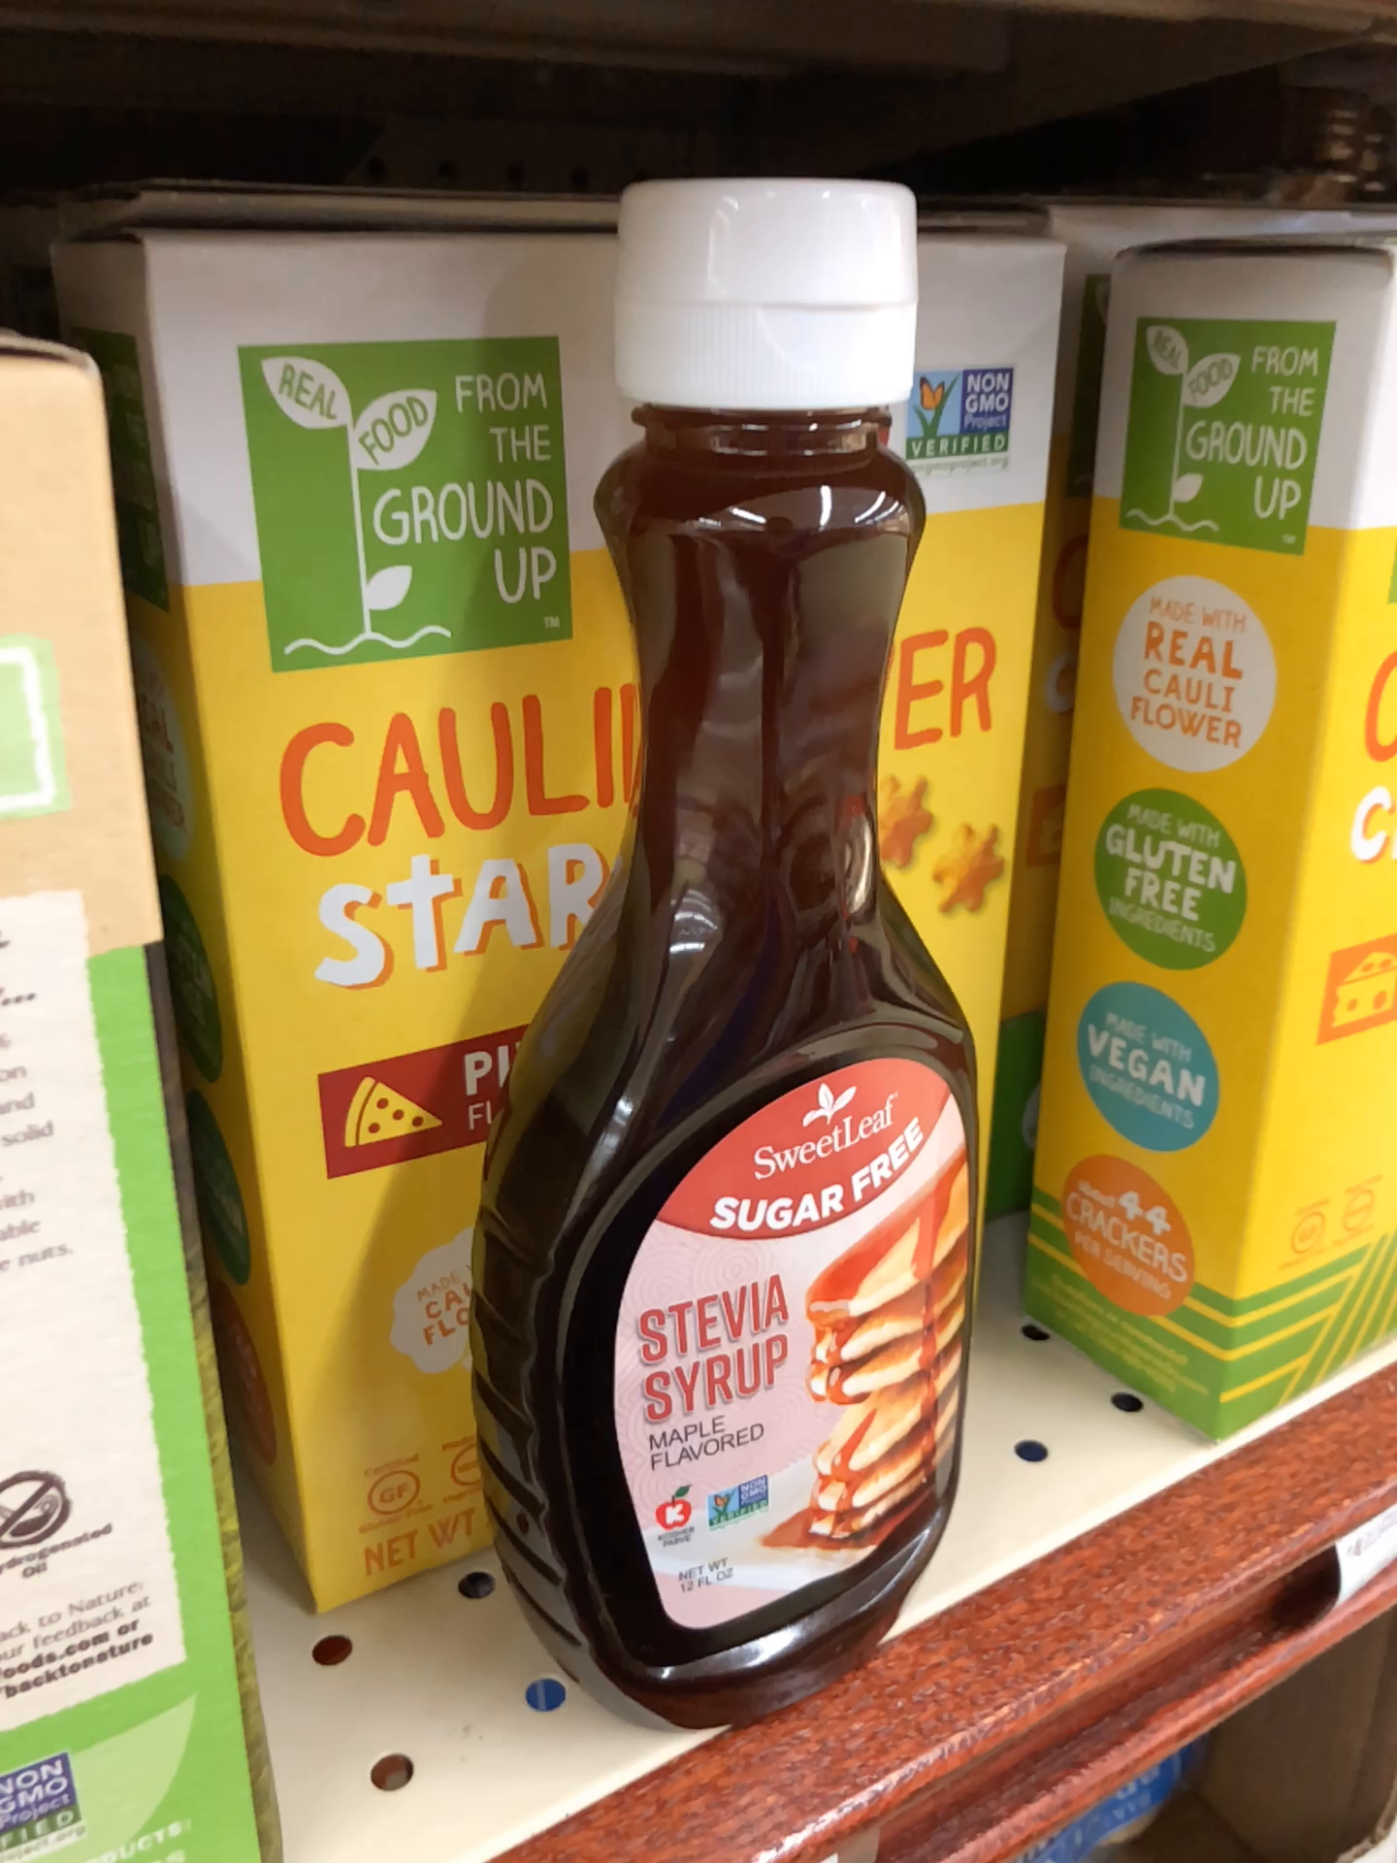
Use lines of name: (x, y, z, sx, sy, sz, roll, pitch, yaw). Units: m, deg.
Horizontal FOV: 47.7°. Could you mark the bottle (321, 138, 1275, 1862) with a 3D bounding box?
bottle: (0.010, 0.014, 0.213, 0.092, 0.211, 0.051, -16, 30, -35)
